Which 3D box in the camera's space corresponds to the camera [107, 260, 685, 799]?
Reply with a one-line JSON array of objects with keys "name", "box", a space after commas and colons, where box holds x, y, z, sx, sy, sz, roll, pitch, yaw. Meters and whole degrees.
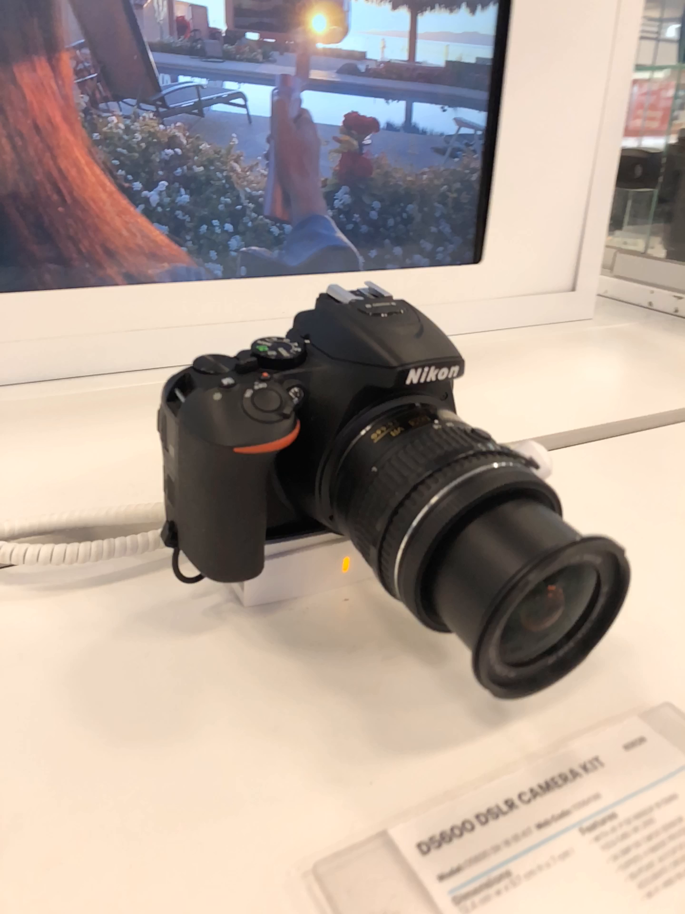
[{"name": "camera", "box": [0.002, 0.000, 0.285, 0.120, 0.090, 0.191, -12, 34, -30]}]
